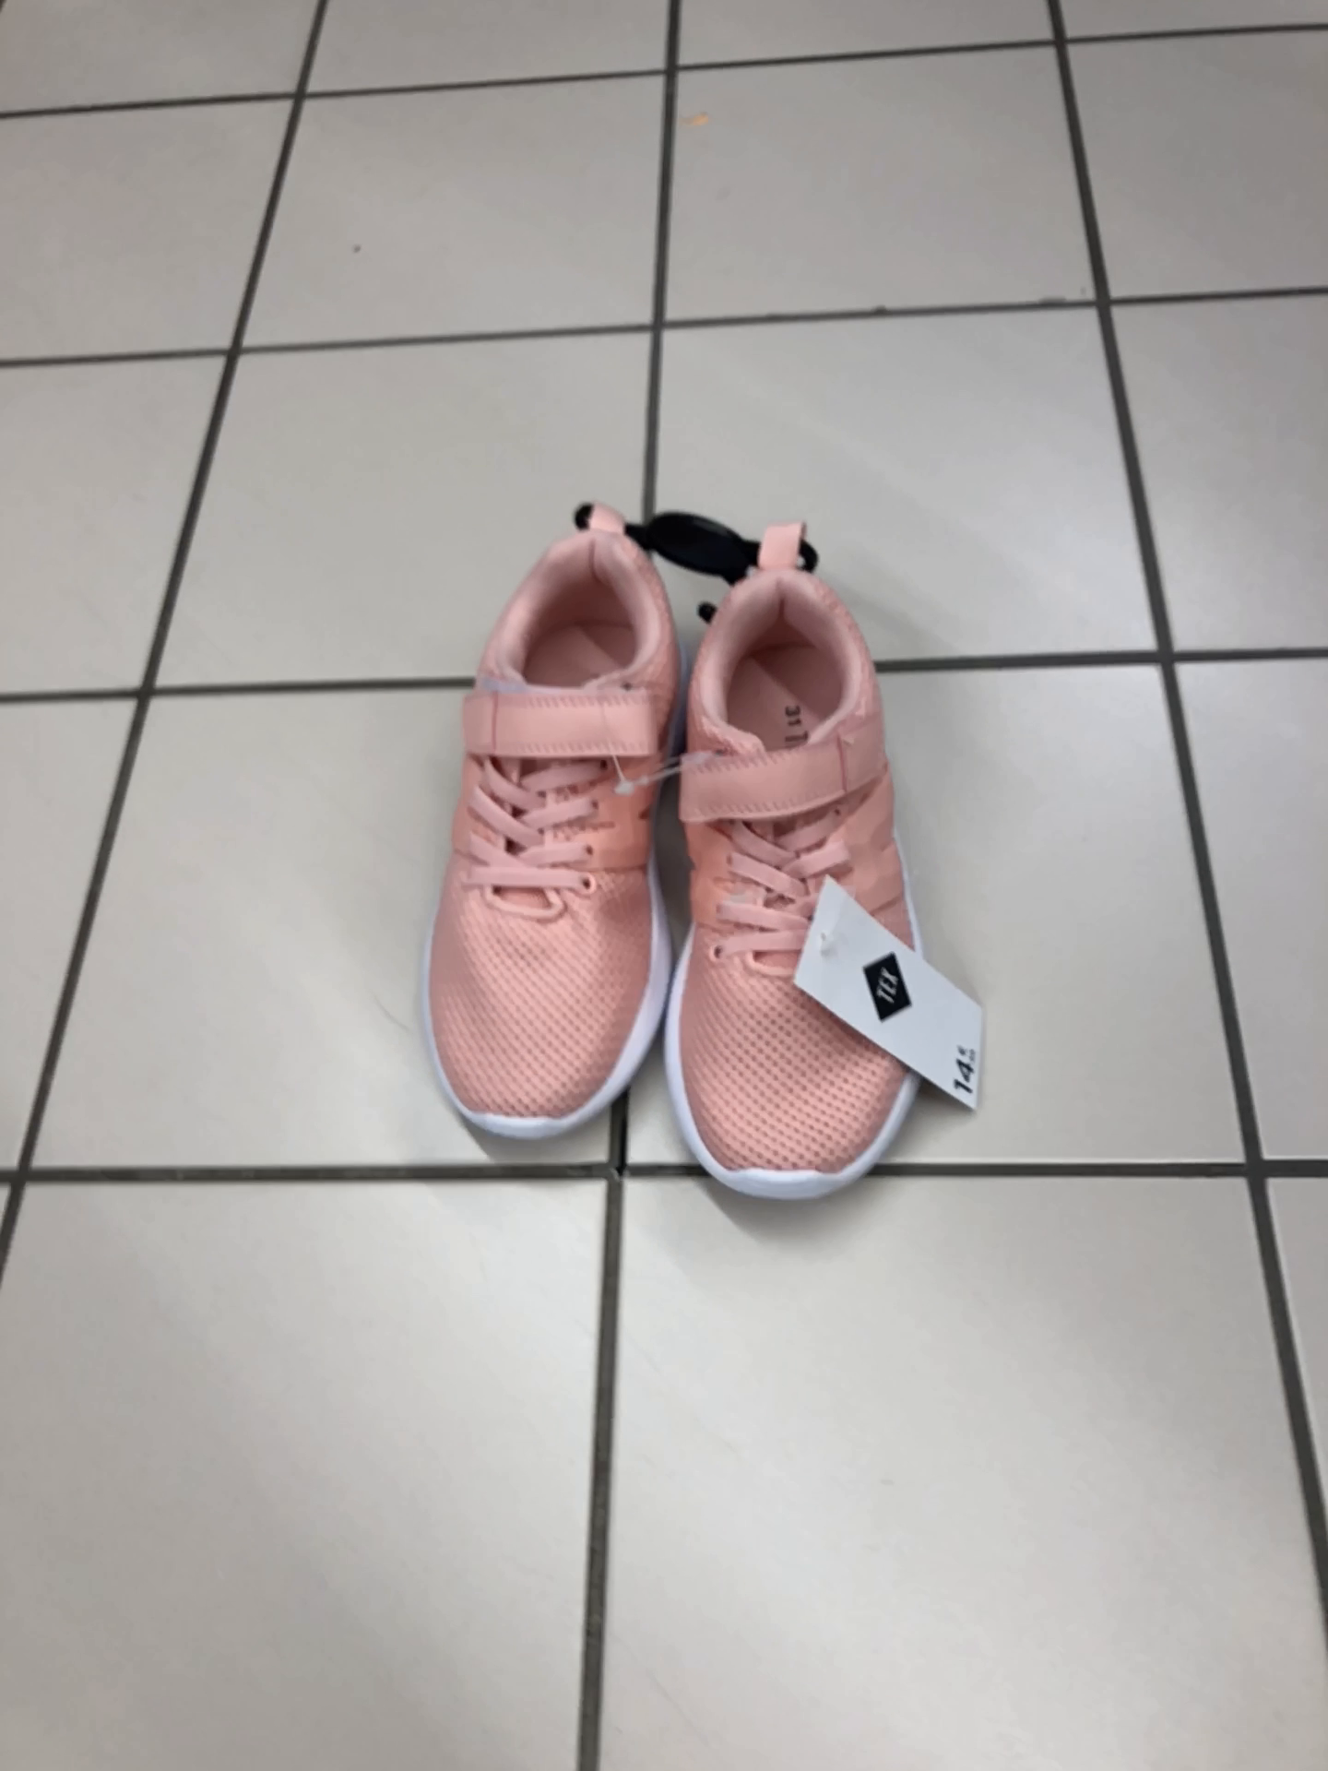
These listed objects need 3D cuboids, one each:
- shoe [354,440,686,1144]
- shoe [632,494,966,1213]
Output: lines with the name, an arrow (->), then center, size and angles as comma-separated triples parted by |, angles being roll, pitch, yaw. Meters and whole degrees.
shoe -> -0.037, -0.033, 0.477 | 0.080, 0.092, 0.211 | -2, 59, 5
shoe -> 0.042, -0.012, 0.457 | 0.083, 0.093, 0.204 | 0, 60, 5
